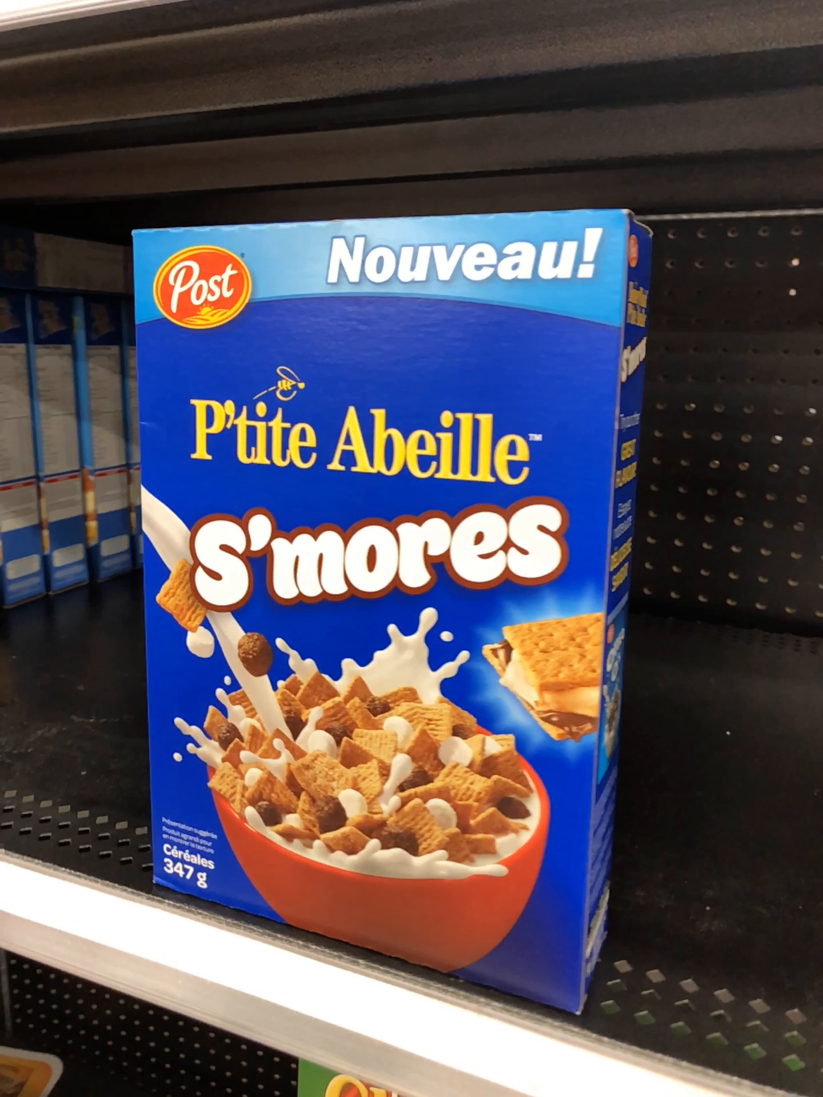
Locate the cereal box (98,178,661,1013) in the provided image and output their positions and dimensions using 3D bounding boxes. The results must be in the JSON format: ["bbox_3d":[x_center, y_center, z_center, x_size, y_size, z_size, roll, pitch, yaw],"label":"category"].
[{"bbox_3d":[-0.017,0.012,0.360,0.200,0.279,0.060,5,11,22],"label":"cereal box"}]
